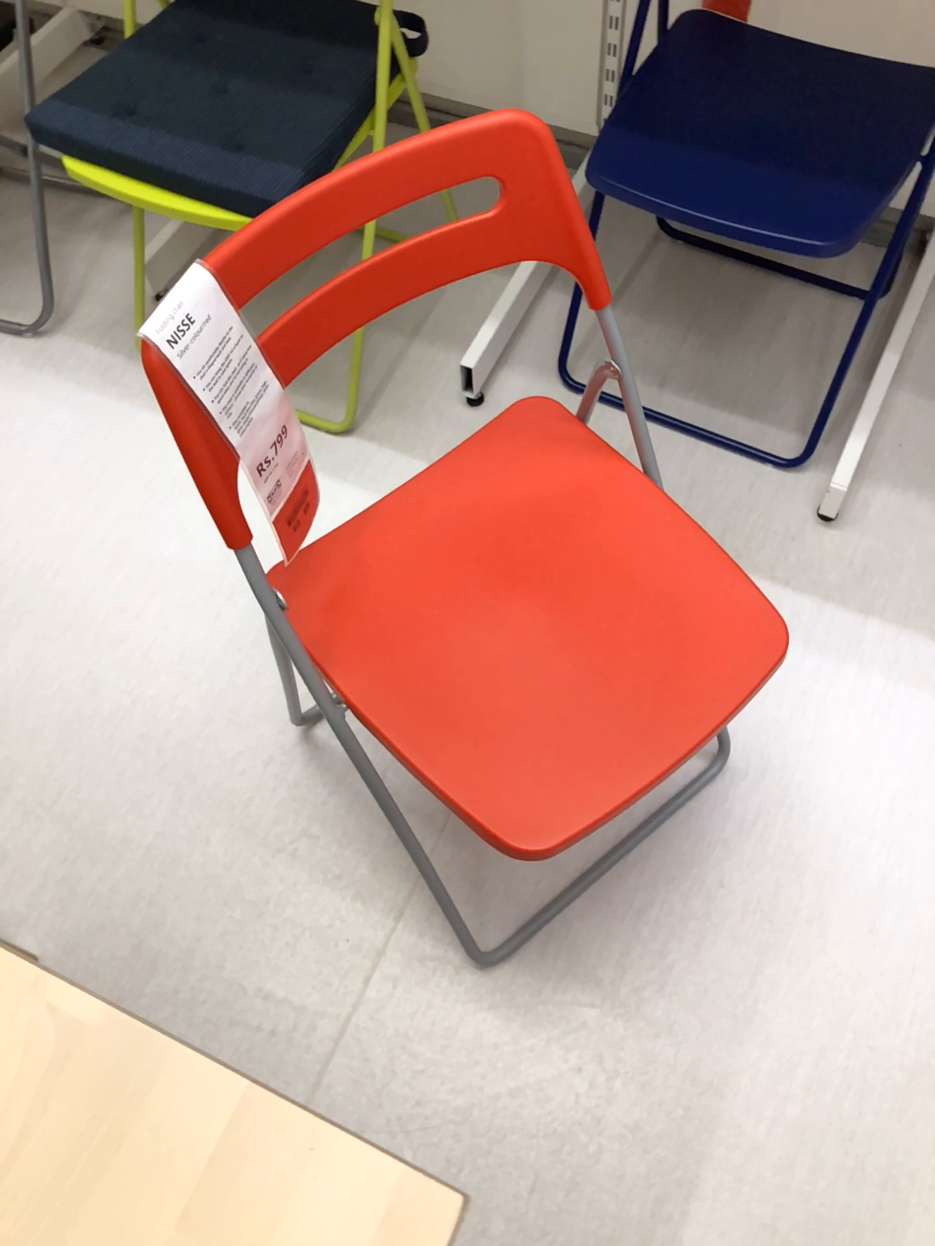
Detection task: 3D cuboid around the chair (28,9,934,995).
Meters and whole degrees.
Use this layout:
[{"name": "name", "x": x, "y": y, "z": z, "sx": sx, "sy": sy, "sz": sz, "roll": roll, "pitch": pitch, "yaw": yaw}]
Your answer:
[{"name": "chair", "x": 0.038, "y": -0.040, "z": 0.933, "sx": 0.441, "sy": 0.677, "sz": 0.421, "roll": -37, "pitch": 64, "yaw": -16}]
